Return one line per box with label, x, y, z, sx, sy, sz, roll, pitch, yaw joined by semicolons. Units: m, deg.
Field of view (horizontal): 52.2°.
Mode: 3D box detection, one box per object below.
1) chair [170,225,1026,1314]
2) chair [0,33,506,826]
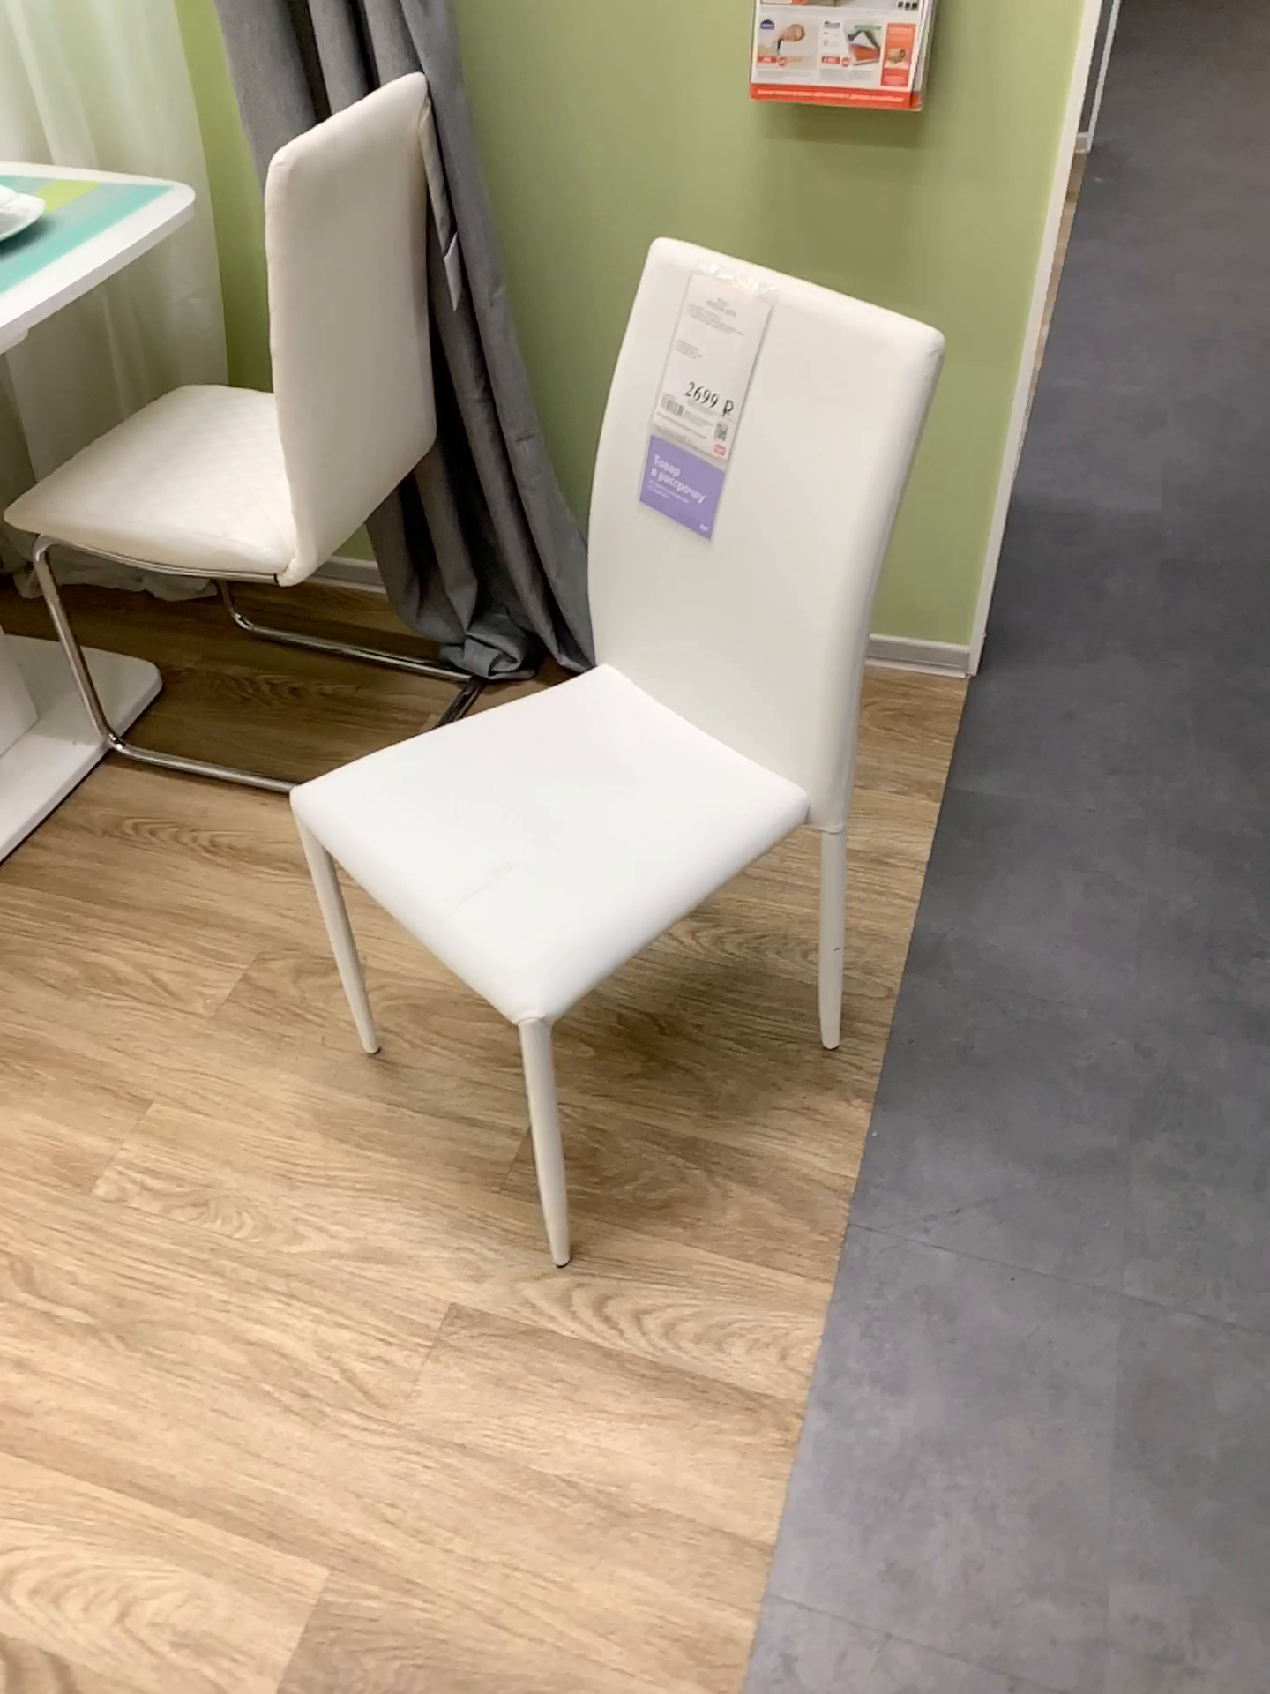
chair;-0.018;-0.059;1.389;0.551;0.925;0.451;-31;50;-28
chair;-0.579;-0.583;1.900;0.560;0.945;0.452;12;45;15
